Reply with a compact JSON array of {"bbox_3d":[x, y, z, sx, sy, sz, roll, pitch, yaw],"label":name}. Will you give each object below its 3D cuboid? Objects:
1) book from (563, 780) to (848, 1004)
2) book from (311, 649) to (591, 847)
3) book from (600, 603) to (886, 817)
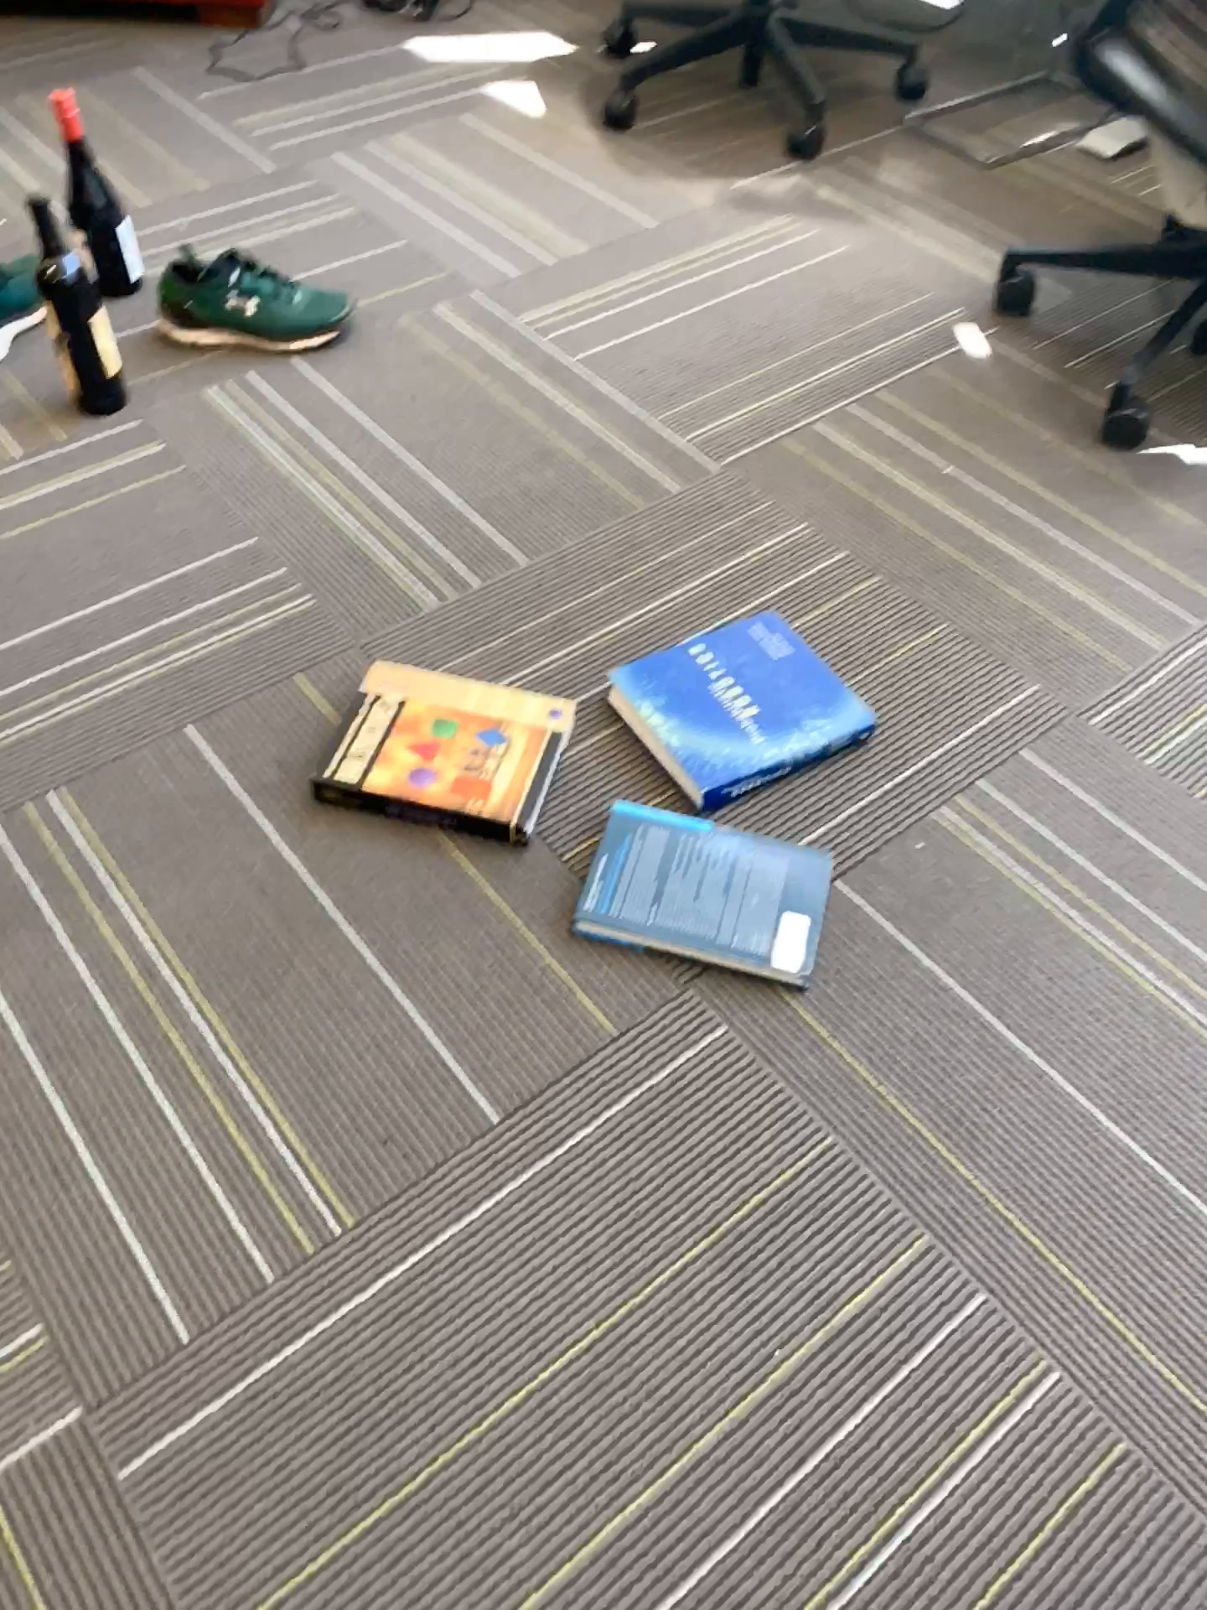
[{"bbox_3d":[0.103,0.082,1.218,0.247,0.040,0.171,15,51,7],"label":"book"},{"bbox_3d":[-0.158,-0.066,1.318,0.247,0.040,0.192,12,51,9],"label":"book"},{"bbox_3d":[0.154,-0.114,1.388,0.245,0.040,0.206,-23,54,-20],"label":"book"}]
